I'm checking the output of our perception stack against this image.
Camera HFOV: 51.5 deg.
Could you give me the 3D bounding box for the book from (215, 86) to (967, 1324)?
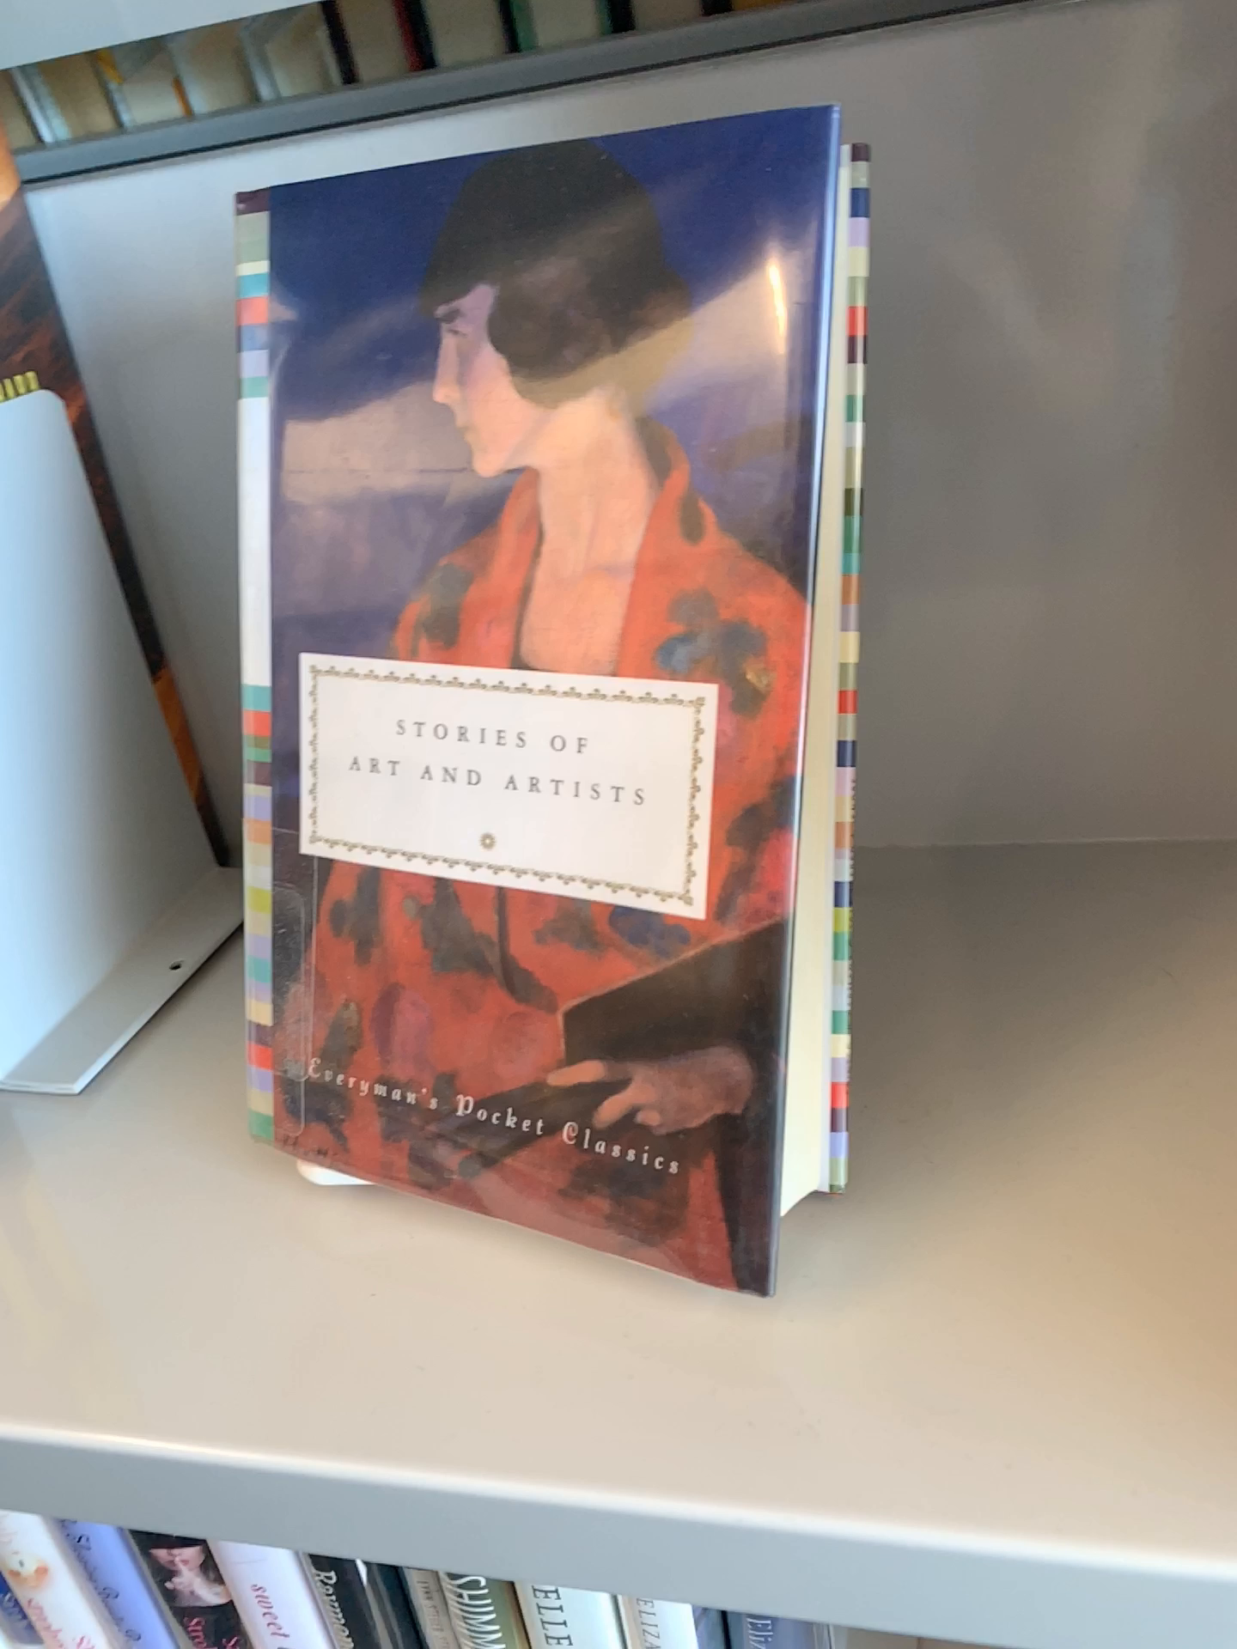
[{"bbox_3d":[-0.012,-0.021,0.241,0.129,0.187,0.040,8,12,28],"label":"book"}]
